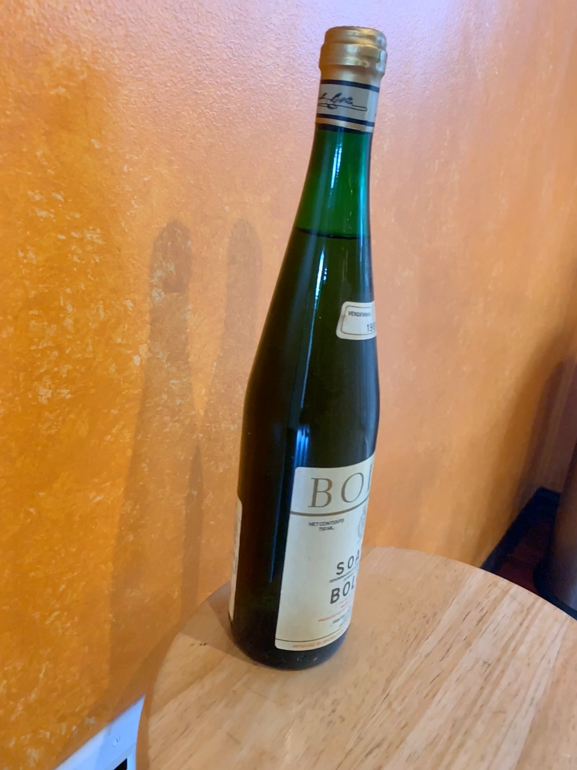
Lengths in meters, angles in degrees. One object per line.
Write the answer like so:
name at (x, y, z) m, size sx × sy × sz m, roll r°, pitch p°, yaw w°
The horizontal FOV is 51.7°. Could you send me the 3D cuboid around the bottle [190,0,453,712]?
bottle at (0.009, -0.001, 0.315) m, size 0.070 × 0.338 × 0.080 m, roll 16°, pitch 22°, yaw 25°
